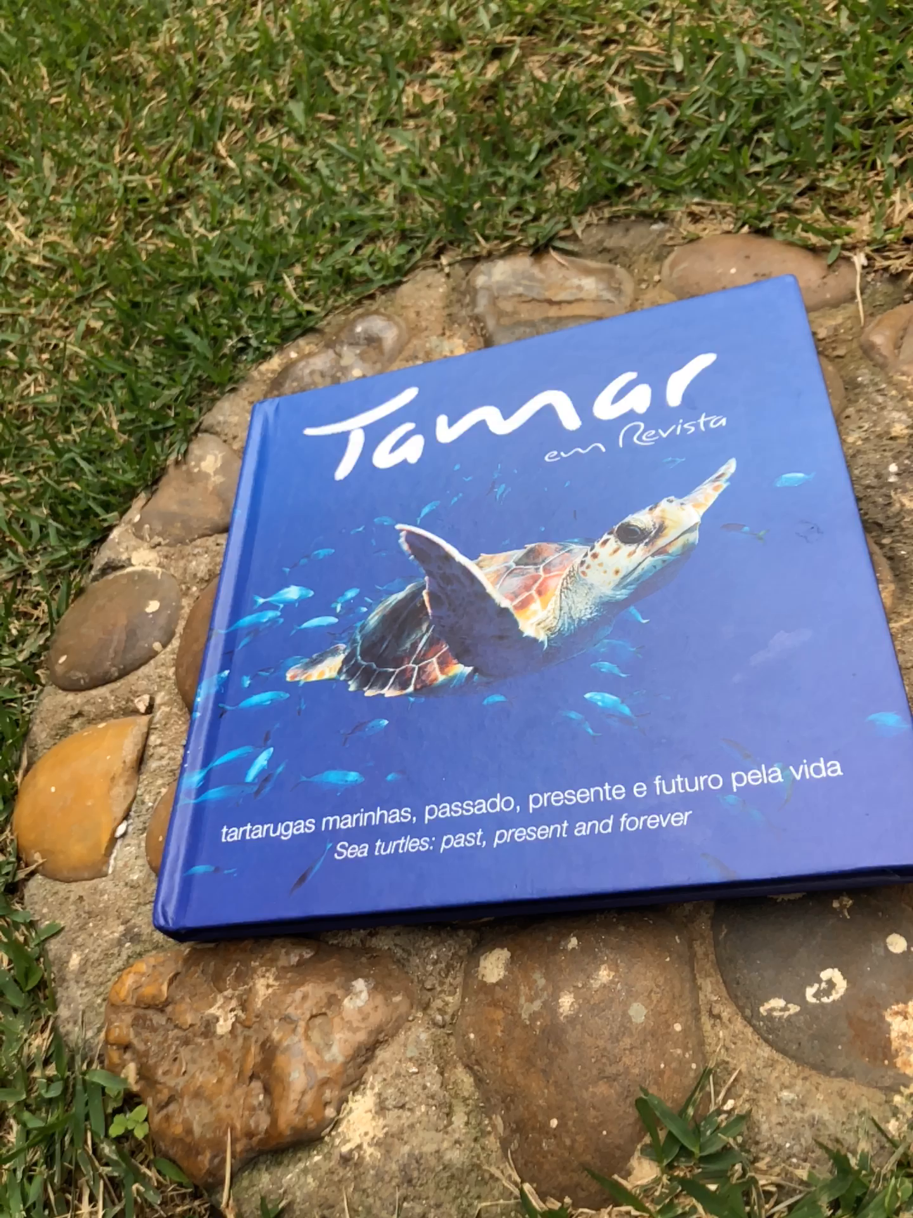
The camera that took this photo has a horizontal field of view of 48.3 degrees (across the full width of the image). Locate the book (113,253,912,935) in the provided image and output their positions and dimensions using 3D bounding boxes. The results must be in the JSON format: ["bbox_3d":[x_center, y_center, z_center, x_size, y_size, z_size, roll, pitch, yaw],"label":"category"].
[{"bbox_3d":[0.012,-0.008,0.261,0.179,0.020,0.167,-9,53,17],"label":"book"}]
